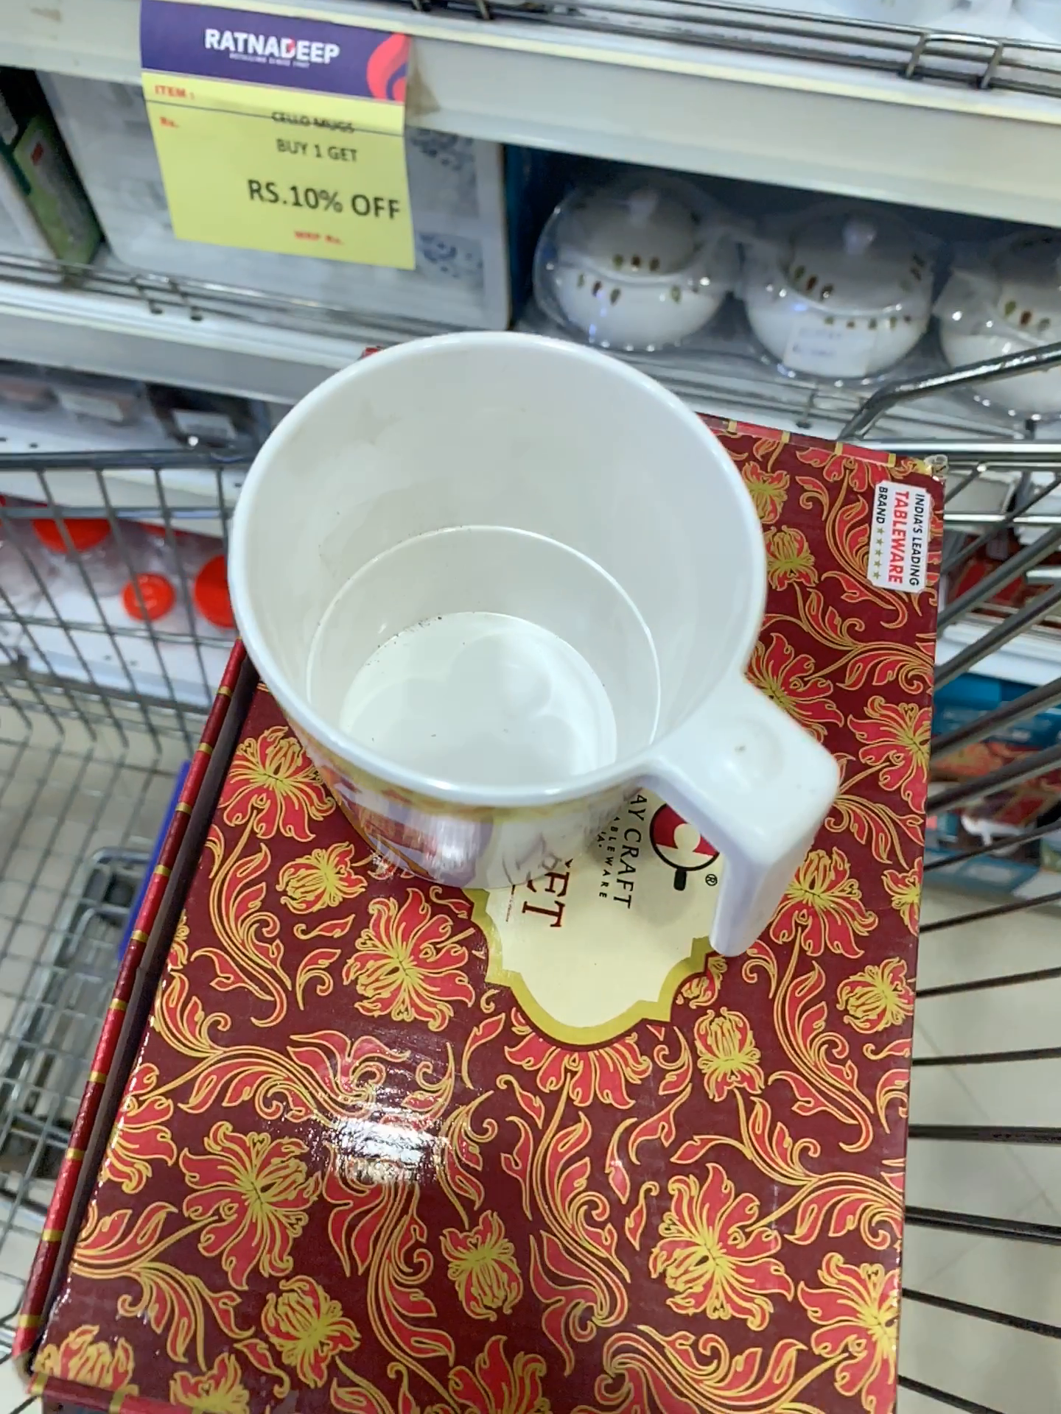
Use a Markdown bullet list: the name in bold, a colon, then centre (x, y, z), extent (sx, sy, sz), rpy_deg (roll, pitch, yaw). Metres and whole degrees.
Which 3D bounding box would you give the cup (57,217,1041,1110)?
- **cup**: centre (0.001, -0.002, 0.188), extent (0.110, 0.080, 0.080), rpy_deg (38, 72, 13)
